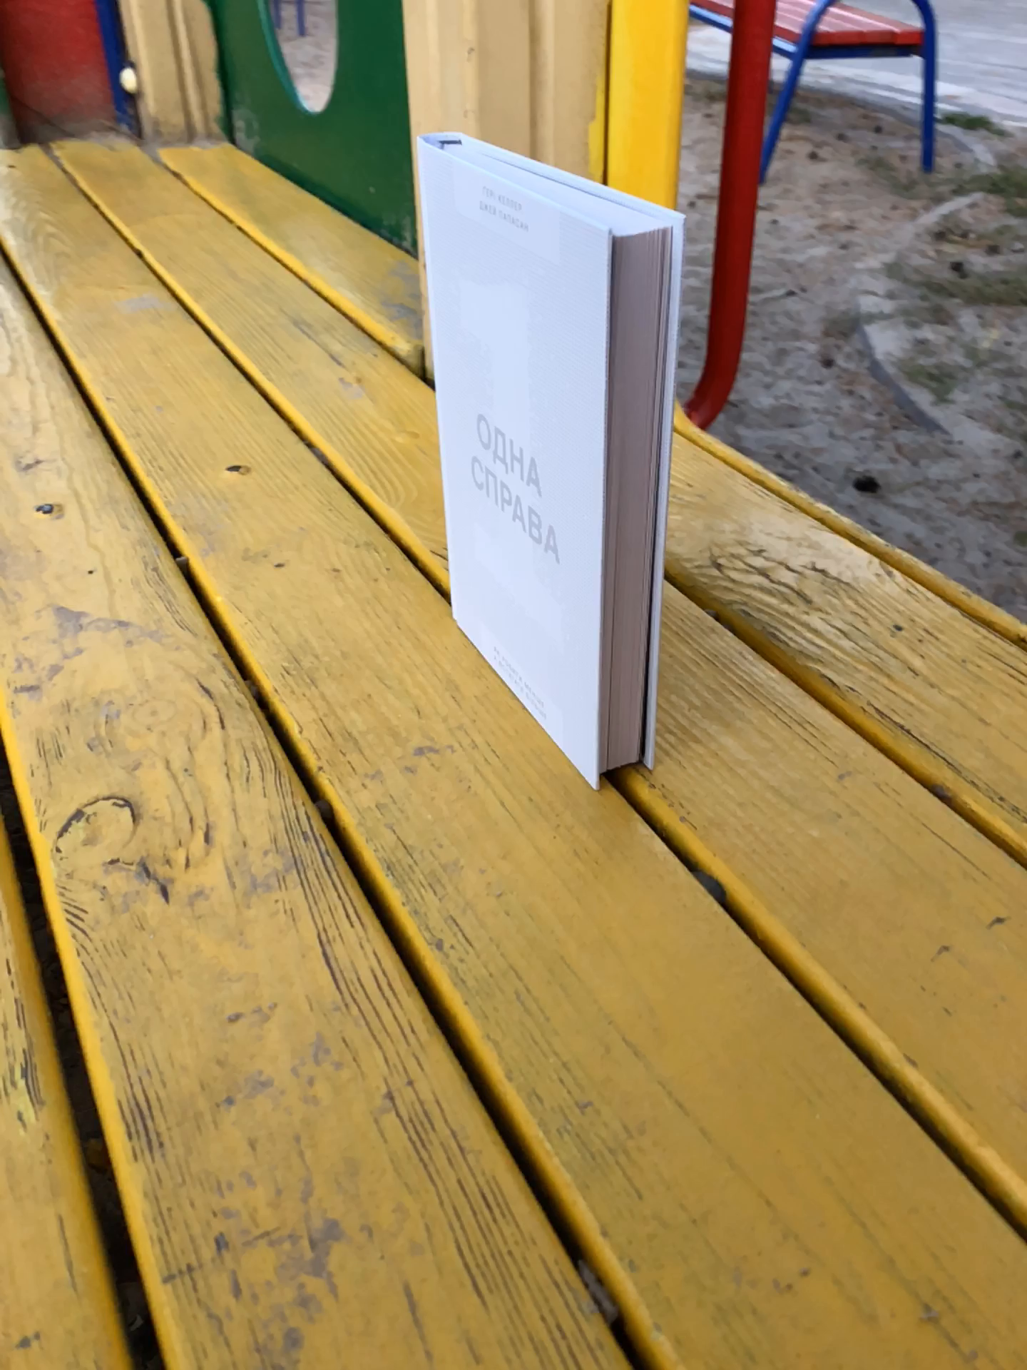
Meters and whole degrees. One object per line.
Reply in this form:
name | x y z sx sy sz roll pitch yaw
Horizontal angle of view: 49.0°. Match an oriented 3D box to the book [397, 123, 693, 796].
book | 0.008 -0.086 0.432 0.030 0.208 0.155 -18 39 -19
